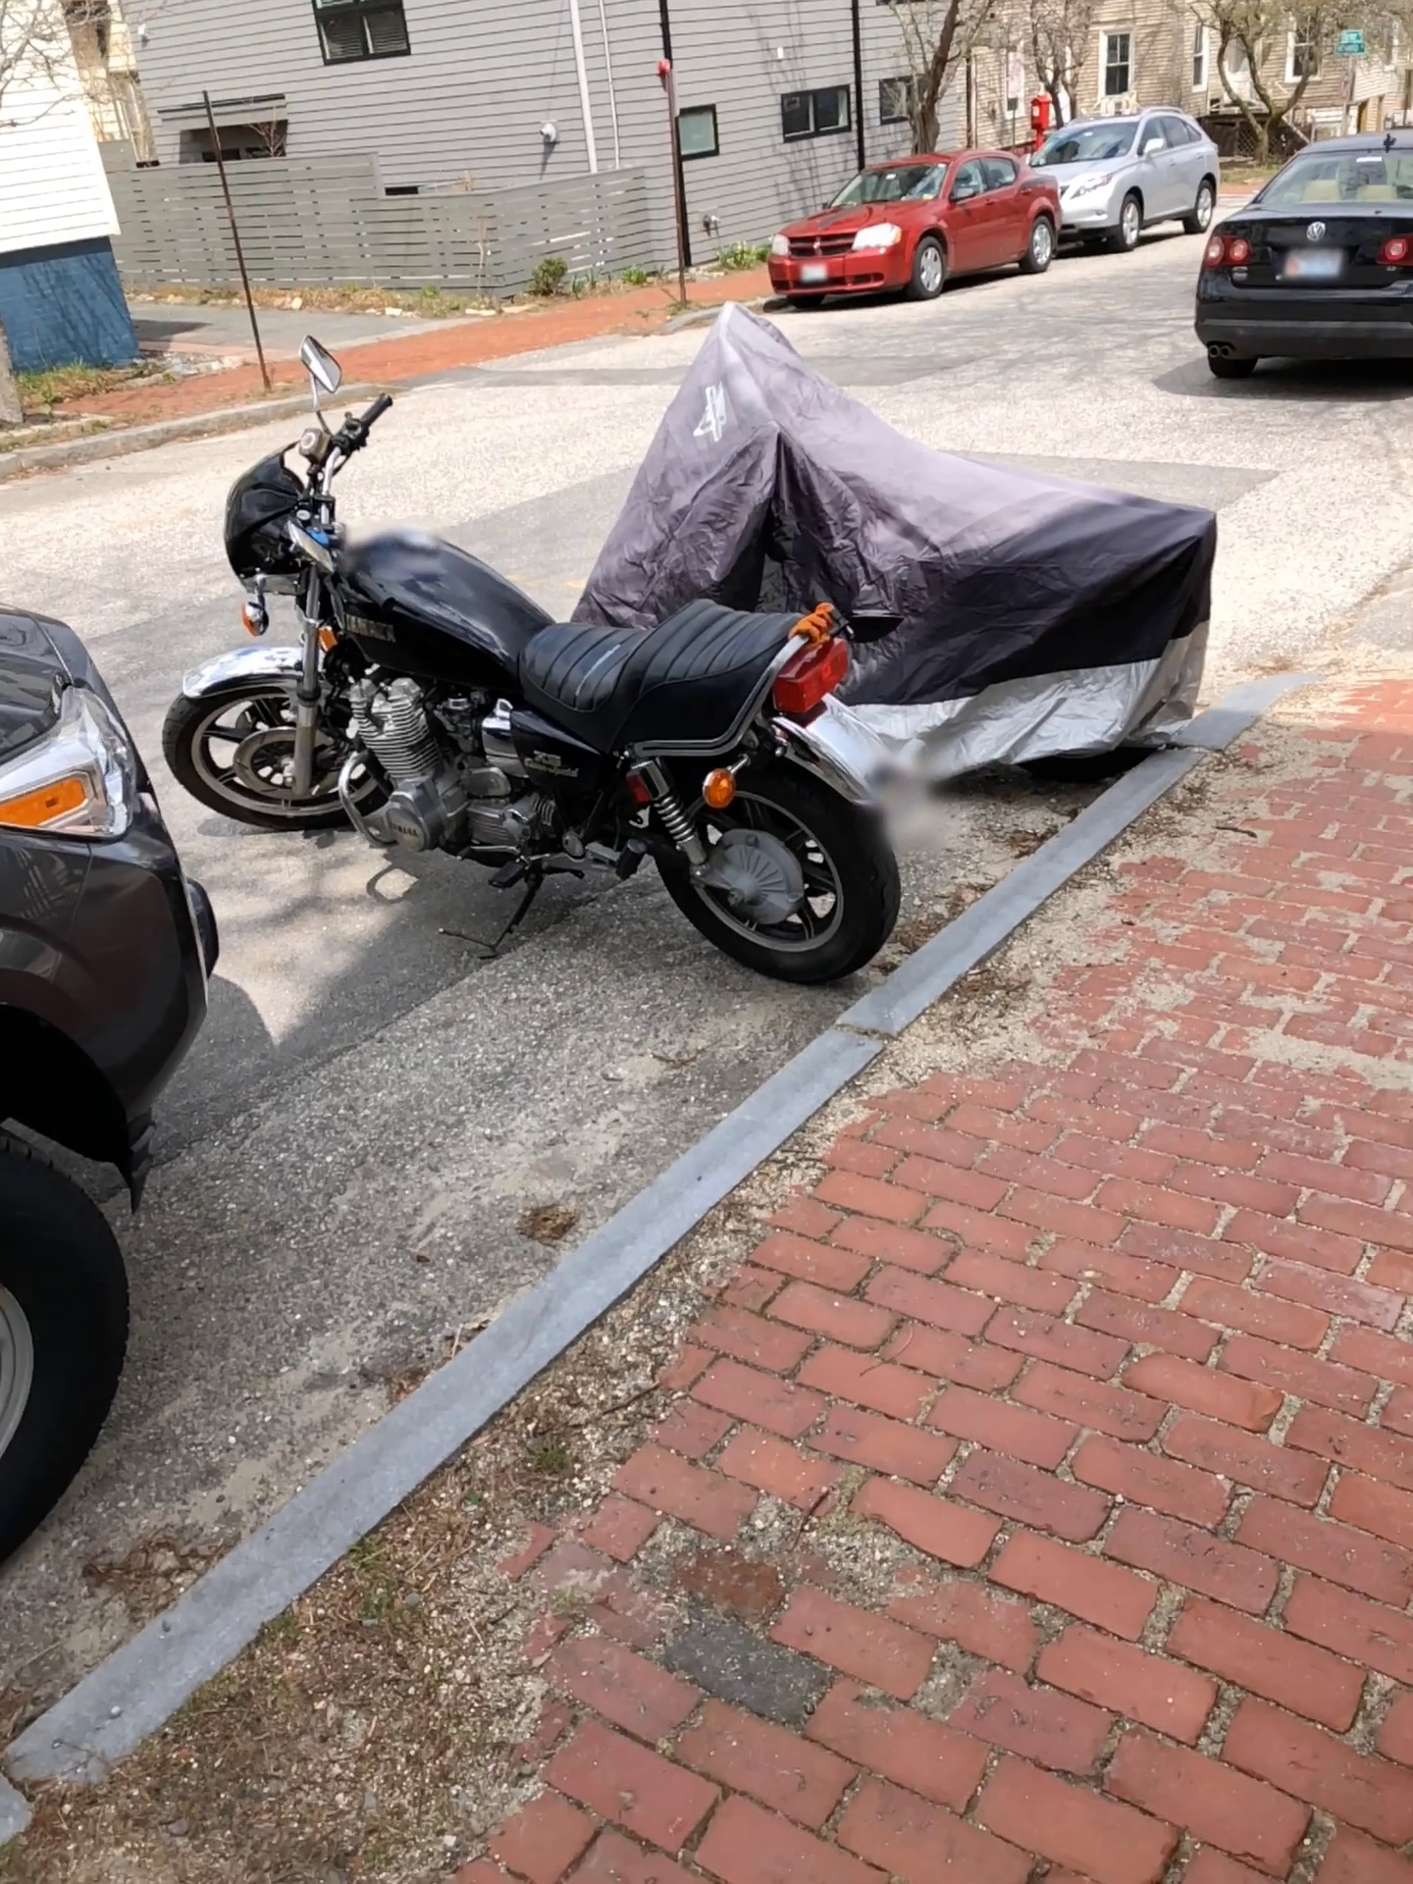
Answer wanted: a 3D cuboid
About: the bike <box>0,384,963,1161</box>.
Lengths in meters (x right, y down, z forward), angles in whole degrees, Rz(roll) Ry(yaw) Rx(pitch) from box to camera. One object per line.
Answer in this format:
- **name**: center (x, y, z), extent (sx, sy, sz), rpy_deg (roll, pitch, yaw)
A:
- **bike**: center (-0.616, -0.532, 3.732), extent (2.299, 1.418, 0.689), rpy_deg (13, 34, 31)
